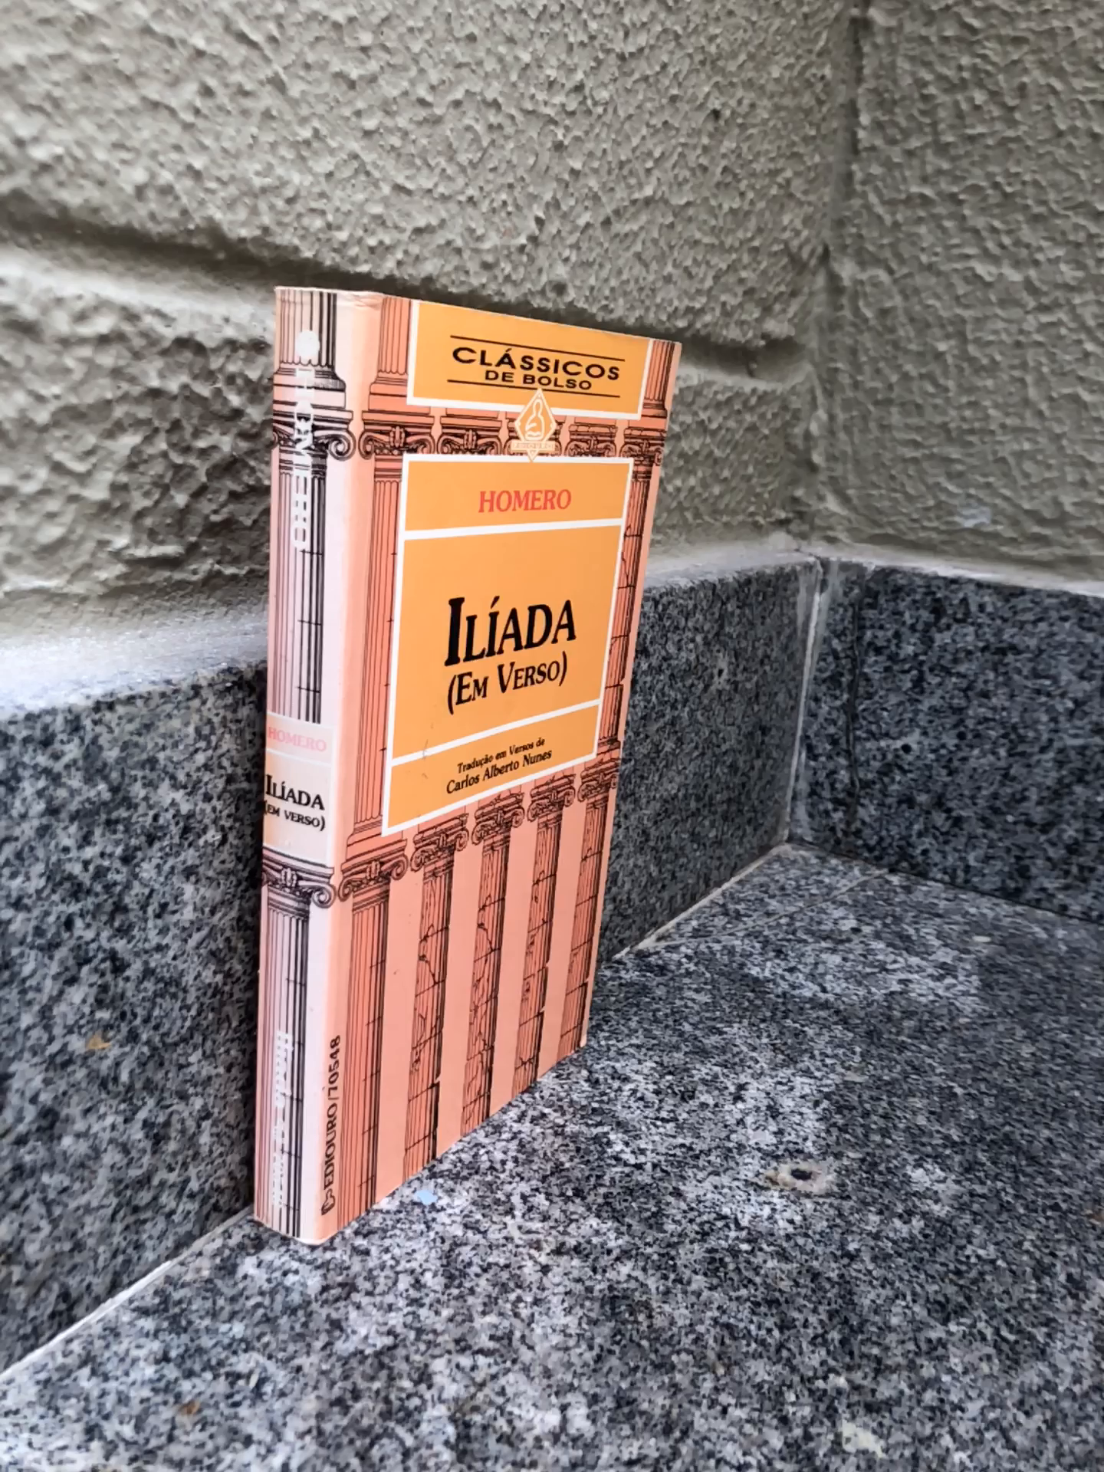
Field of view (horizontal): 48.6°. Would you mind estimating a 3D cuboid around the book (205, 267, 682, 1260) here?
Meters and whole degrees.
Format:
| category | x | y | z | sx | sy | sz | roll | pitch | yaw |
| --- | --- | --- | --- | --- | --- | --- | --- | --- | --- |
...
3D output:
| category | x | y | z | sx | sy | sz | roll | pitch | yaw |
| --- | --- | --- | --- | --- | --- | --- | --- | --- | --- |
| book | -0.025 | 0.002 | 0.324 | 0.030 | 0.219 | 0.140 | 15 | 18 | 30 |
